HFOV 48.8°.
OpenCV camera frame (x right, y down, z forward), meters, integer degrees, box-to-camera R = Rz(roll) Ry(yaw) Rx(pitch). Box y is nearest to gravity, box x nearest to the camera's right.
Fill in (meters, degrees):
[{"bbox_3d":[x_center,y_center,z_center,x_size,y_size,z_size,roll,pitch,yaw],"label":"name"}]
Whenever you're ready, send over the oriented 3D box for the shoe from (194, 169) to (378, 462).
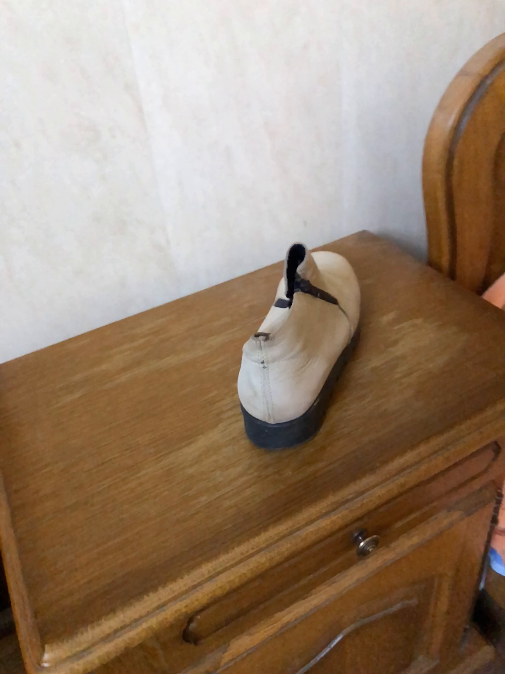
[{"bbox_3d":[0.049,-0.040,0.504,0.100,0.129,0.272,4,37,15],"label":"shoe"}]
